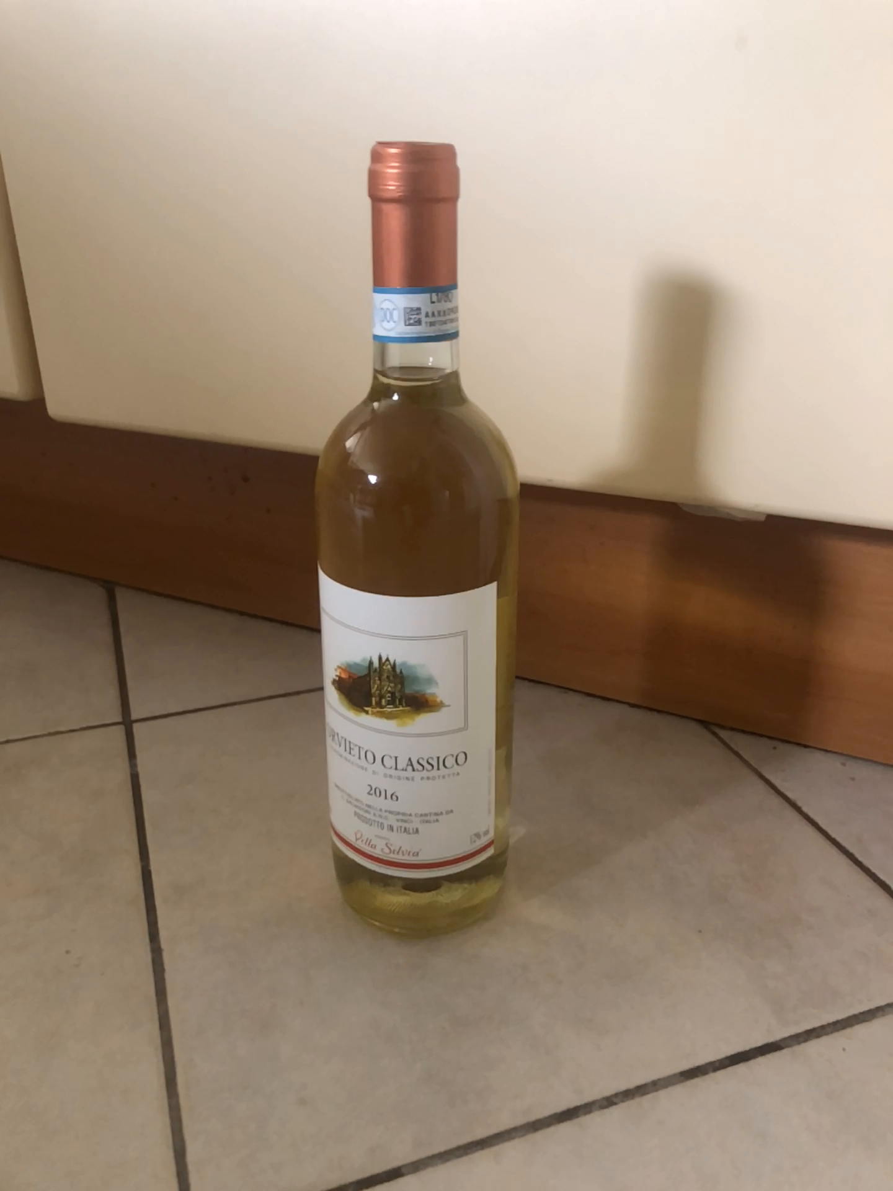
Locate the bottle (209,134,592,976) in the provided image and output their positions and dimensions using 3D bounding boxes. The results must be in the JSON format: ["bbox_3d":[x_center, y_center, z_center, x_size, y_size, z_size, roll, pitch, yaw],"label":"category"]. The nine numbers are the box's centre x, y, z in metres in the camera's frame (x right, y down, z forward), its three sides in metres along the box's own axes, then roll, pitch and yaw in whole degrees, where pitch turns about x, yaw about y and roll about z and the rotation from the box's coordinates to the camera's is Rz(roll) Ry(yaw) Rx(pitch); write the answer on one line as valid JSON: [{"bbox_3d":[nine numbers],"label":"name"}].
[{"bbox_3d":[-0.011,-0.012,0.368,0.090,0.288,0.091,0,24,0],"label":"bottle"}]
